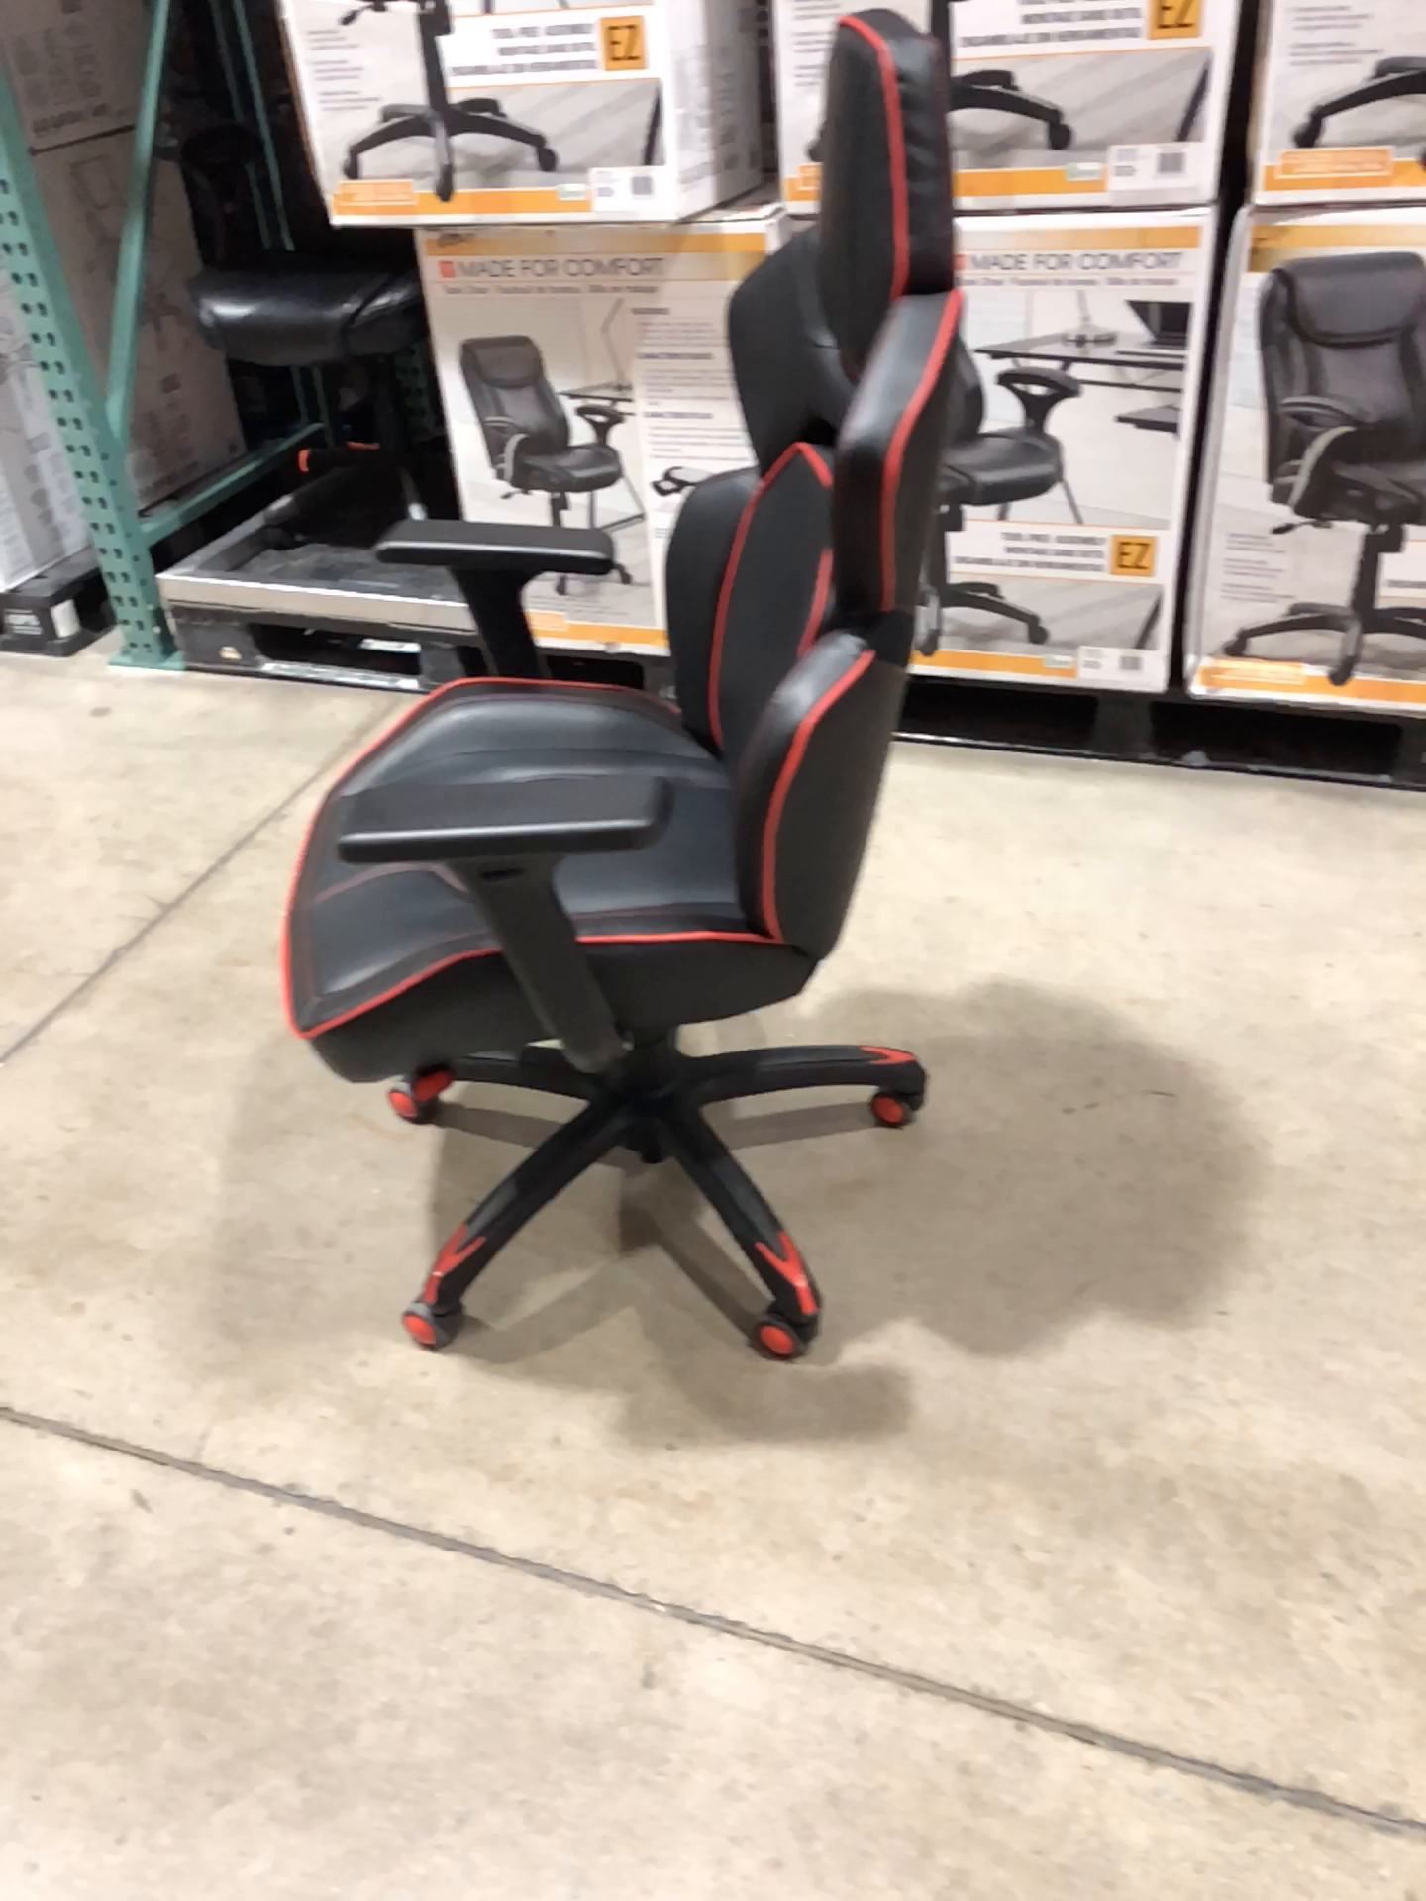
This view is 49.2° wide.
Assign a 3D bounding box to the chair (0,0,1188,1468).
[{"bbox_3d":[-0.092,-0.229,1.529,0.720,1.145,0.723,-10,35,-7],"label":"chair"}]
